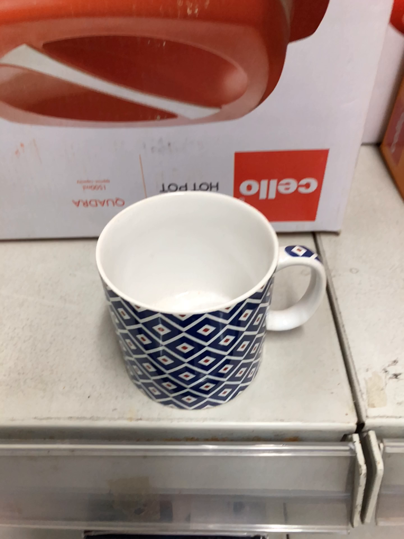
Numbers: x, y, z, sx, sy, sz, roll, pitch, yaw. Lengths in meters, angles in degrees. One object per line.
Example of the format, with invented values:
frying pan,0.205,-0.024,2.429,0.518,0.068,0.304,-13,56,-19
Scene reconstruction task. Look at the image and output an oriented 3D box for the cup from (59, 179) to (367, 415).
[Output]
cup,0.005,0.013,0.219,0.110,0.079,0.081,0,45,1
